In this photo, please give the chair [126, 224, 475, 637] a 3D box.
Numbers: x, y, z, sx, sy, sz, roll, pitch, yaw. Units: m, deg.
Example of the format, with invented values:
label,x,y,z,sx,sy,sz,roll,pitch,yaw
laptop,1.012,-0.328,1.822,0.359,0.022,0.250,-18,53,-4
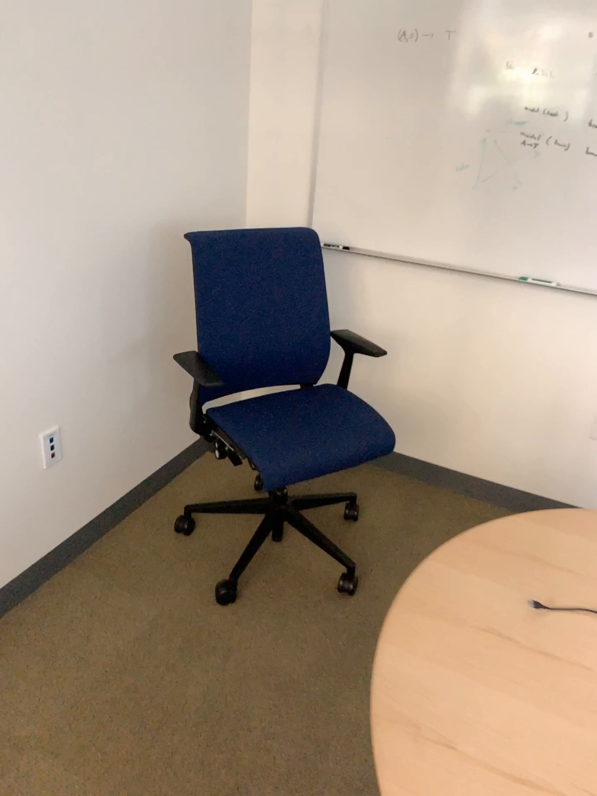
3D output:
label,x,y,z,sx,sy,sz,roll,pitch,yaw
chair,-0.090,0.001,2.151,0.740,0.995,0.985,-10,29,-26
